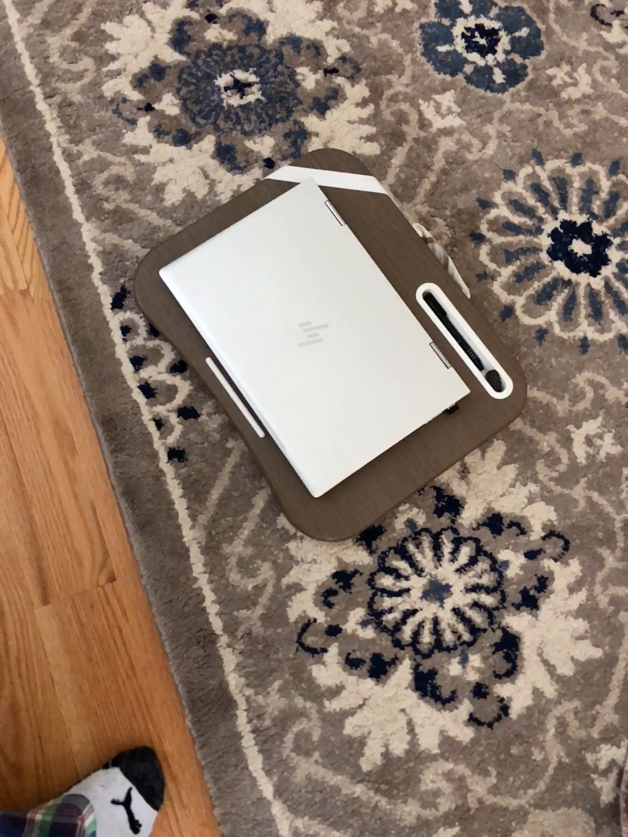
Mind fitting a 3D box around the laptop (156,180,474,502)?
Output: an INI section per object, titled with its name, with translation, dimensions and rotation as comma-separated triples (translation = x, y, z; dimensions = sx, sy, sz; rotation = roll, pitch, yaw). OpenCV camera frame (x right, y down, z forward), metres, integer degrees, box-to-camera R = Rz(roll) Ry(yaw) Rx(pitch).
[laptop]
translation = -0.002, -0.108, 0.885
dimensions = 0.241, 0.026, 0.354
rotation = -34, 81, -11
